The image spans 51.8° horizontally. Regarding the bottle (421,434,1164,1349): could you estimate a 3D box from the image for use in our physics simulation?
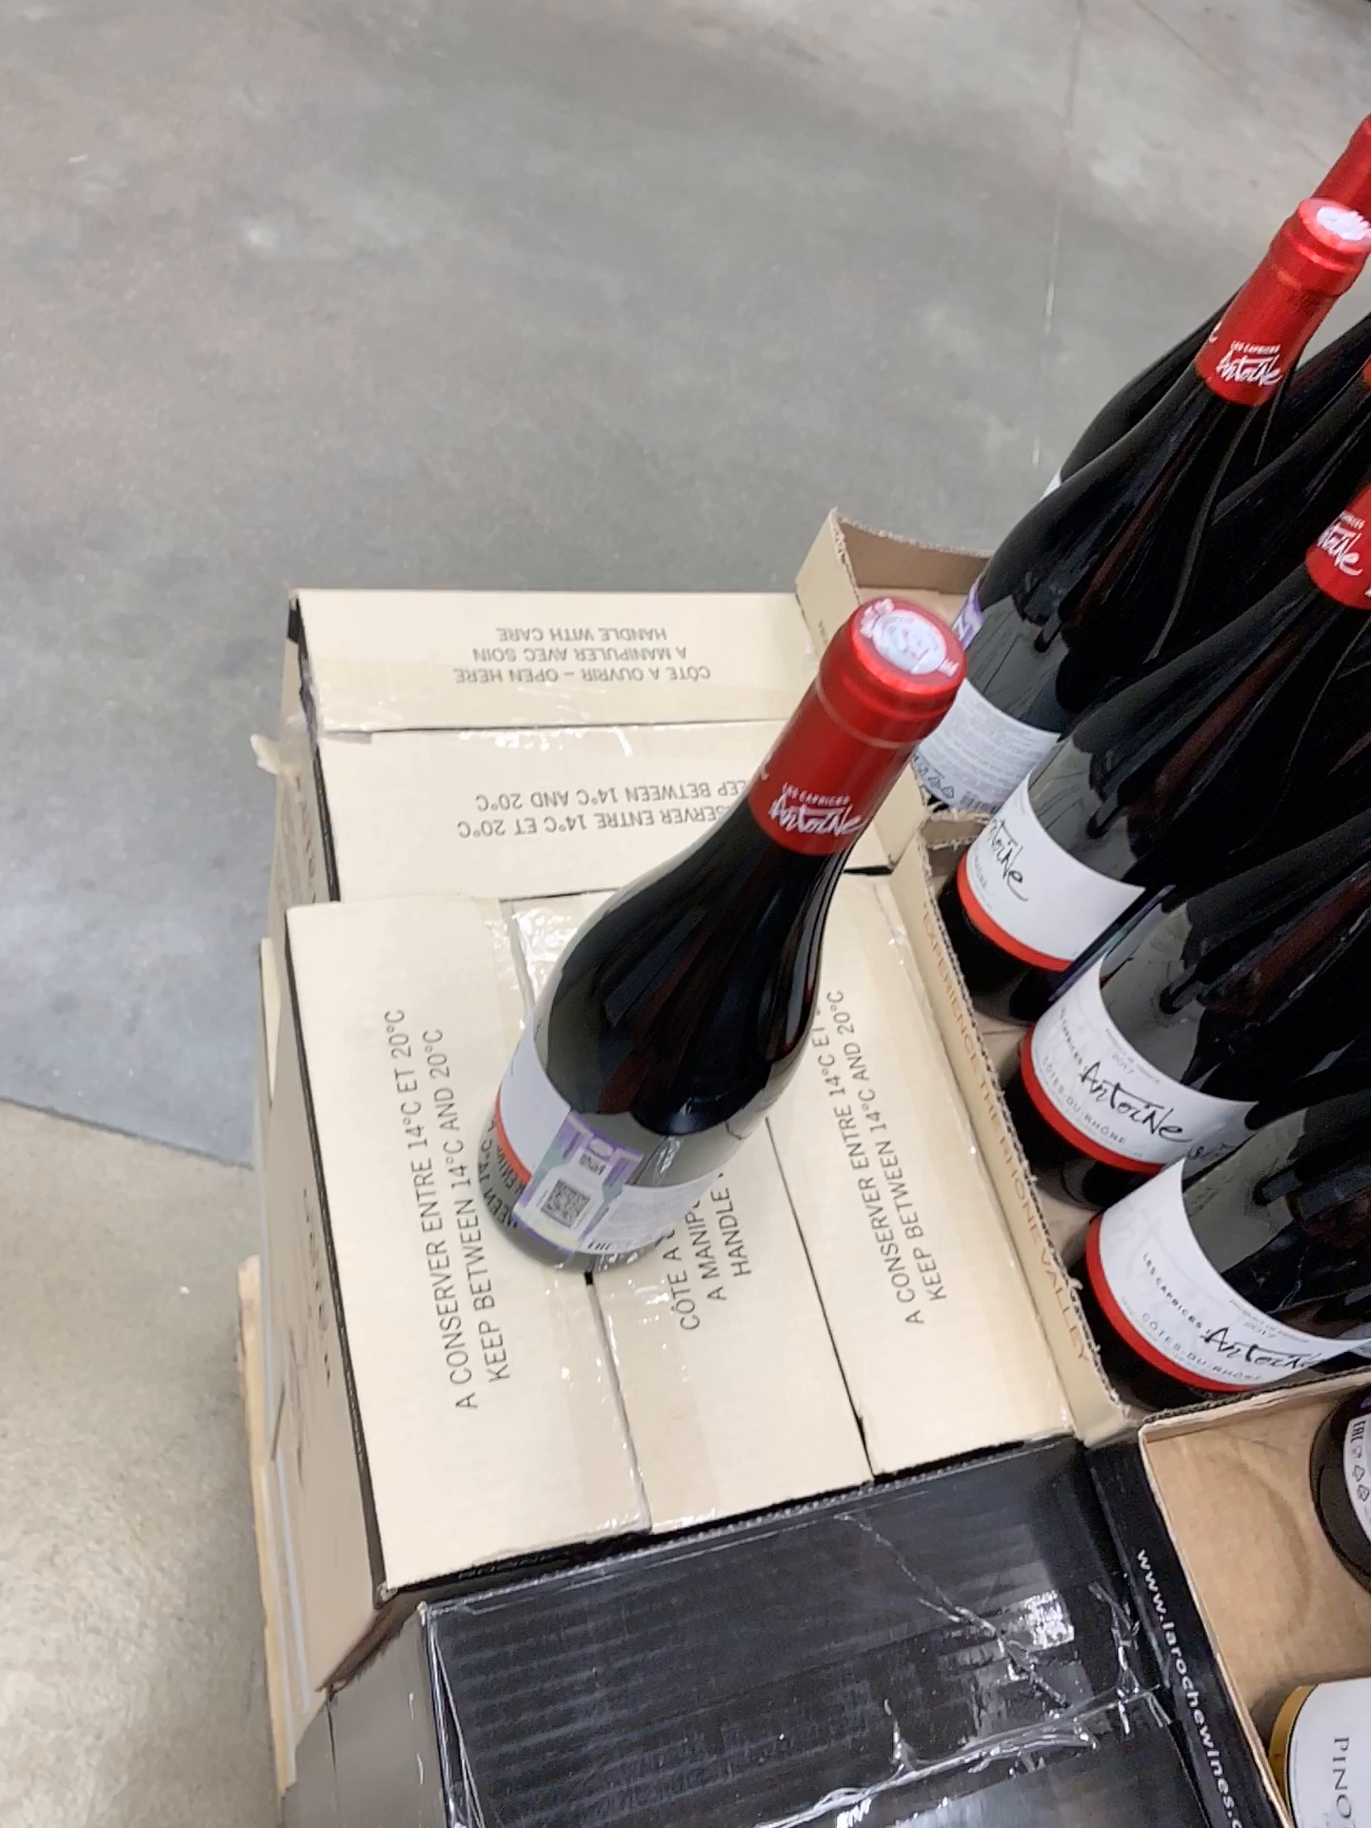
[{"bbox_3d":[0.004,0.022,0.411,0.090,0.299,0.090,8,57,-13],"label":"bottle"}]
